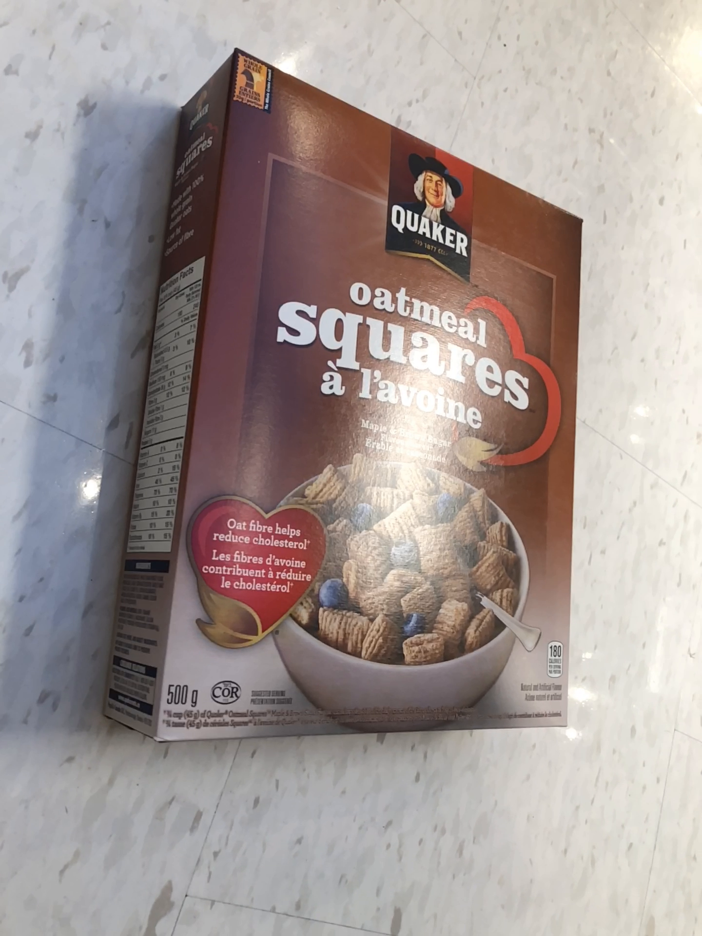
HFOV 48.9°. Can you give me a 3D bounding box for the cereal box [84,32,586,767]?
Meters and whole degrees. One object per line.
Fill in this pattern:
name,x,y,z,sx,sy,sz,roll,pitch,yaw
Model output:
cereal box,0.010,-0.016,0.361,0.211,0.070,0.270,11,78,-33
